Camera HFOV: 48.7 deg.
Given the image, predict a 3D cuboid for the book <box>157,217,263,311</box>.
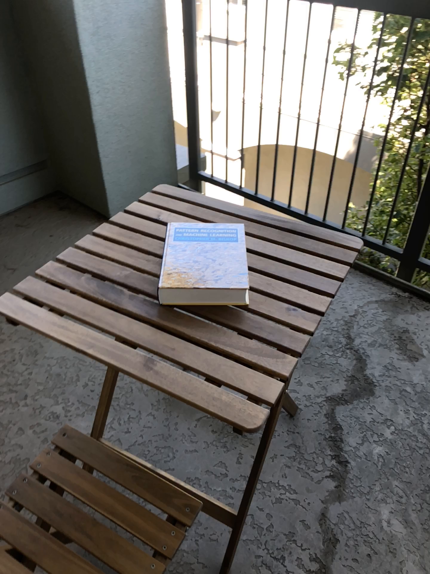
[{"bbox_3d":[-0.008,-0.054,0.967,0.190,0.050,0.251,0,40,0],"label":"book"}]
